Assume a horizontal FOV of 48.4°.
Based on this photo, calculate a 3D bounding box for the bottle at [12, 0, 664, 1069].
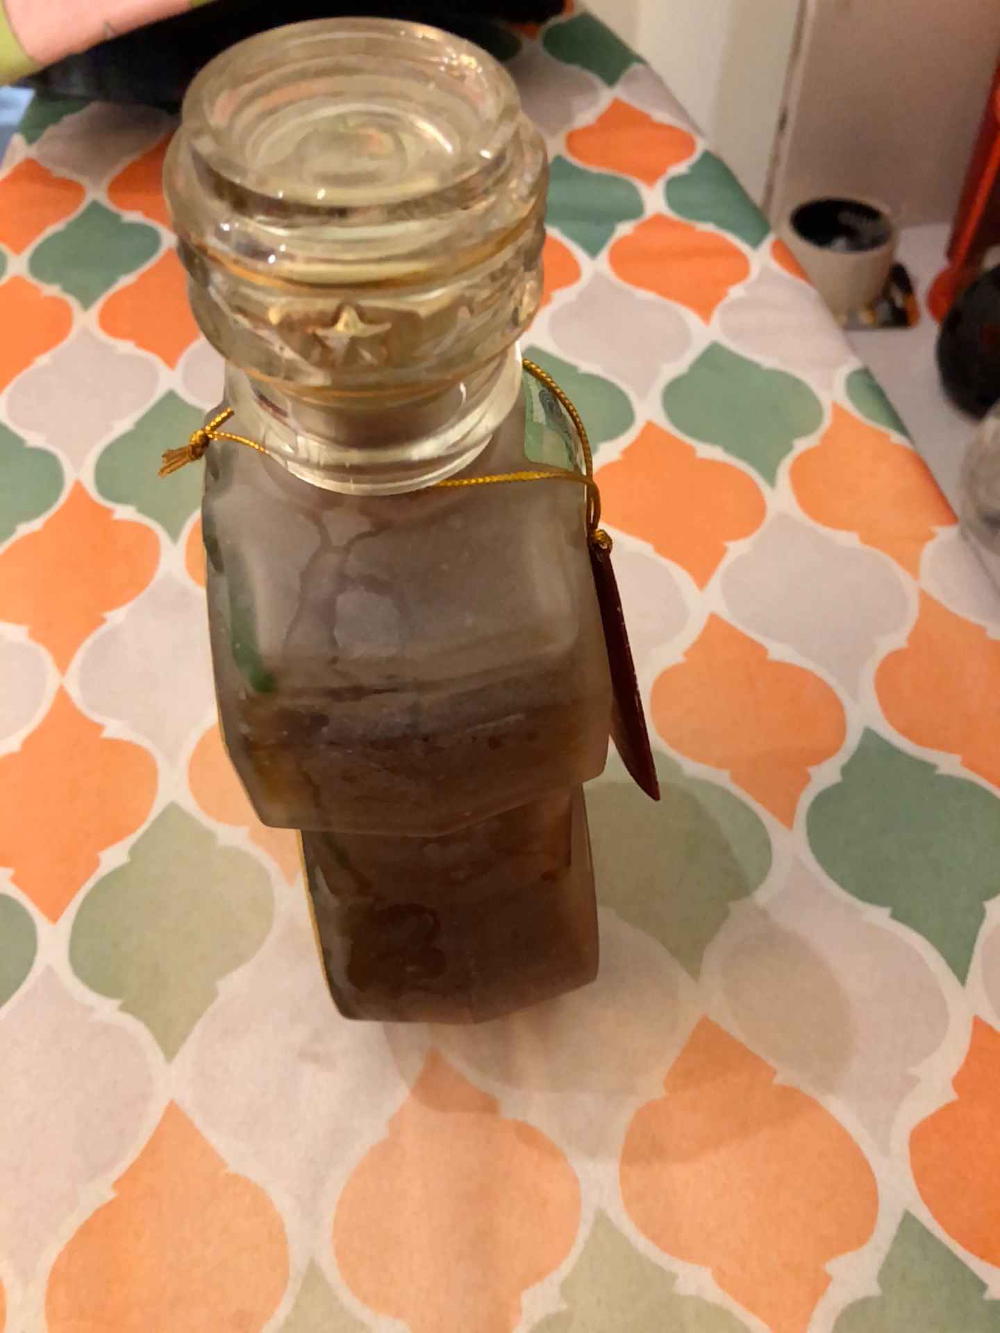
[{"bbox_3d":[-0.018,-0.004,0.233,0.064,0.233,0.101,-8,55,-3],"label":"bottle"}]
